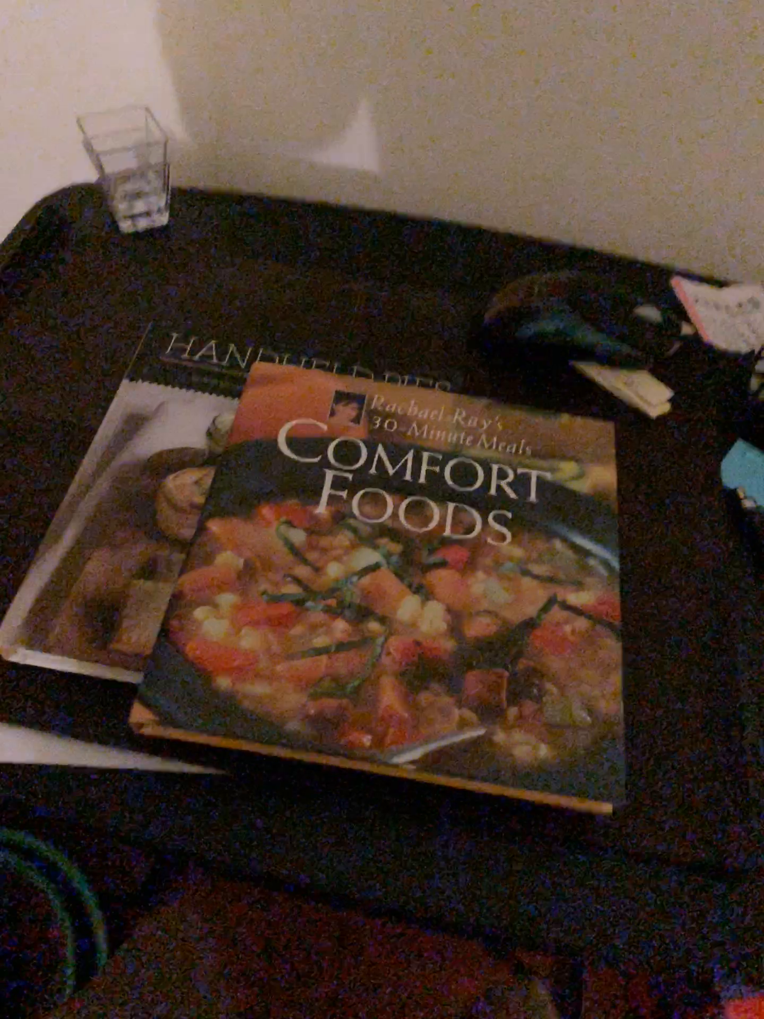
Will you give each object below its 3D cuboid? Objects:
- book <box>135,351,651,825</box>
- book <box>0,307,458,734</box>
[{"bbox_3d":[0.018,0.020,0.371,0.200,0.020,0.211,9,54,1],"label":"book"},{"bbox_3d":[-0.062,-0.010,0.404,0.180,0.020,0.221,10,54,2],"label":"book"}]
